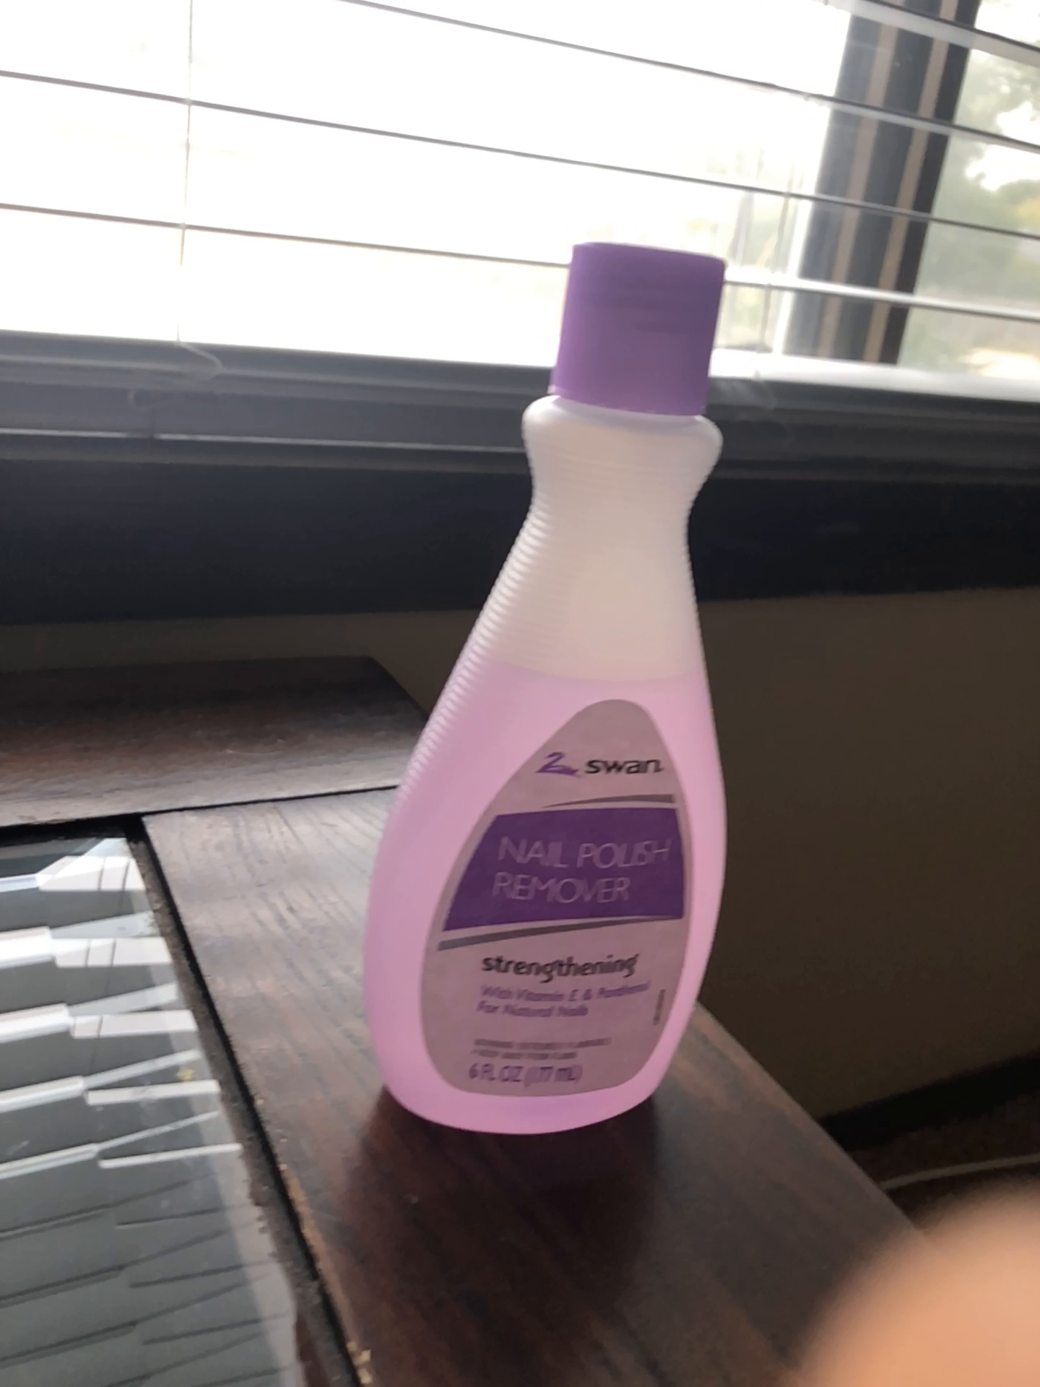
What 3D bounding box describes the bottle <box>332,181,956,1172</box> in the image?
[{"bbox_3d":[0.012,0.001,0.219,0.080,0.170,0.050,1,22,-16],"label":"bottle"}]
